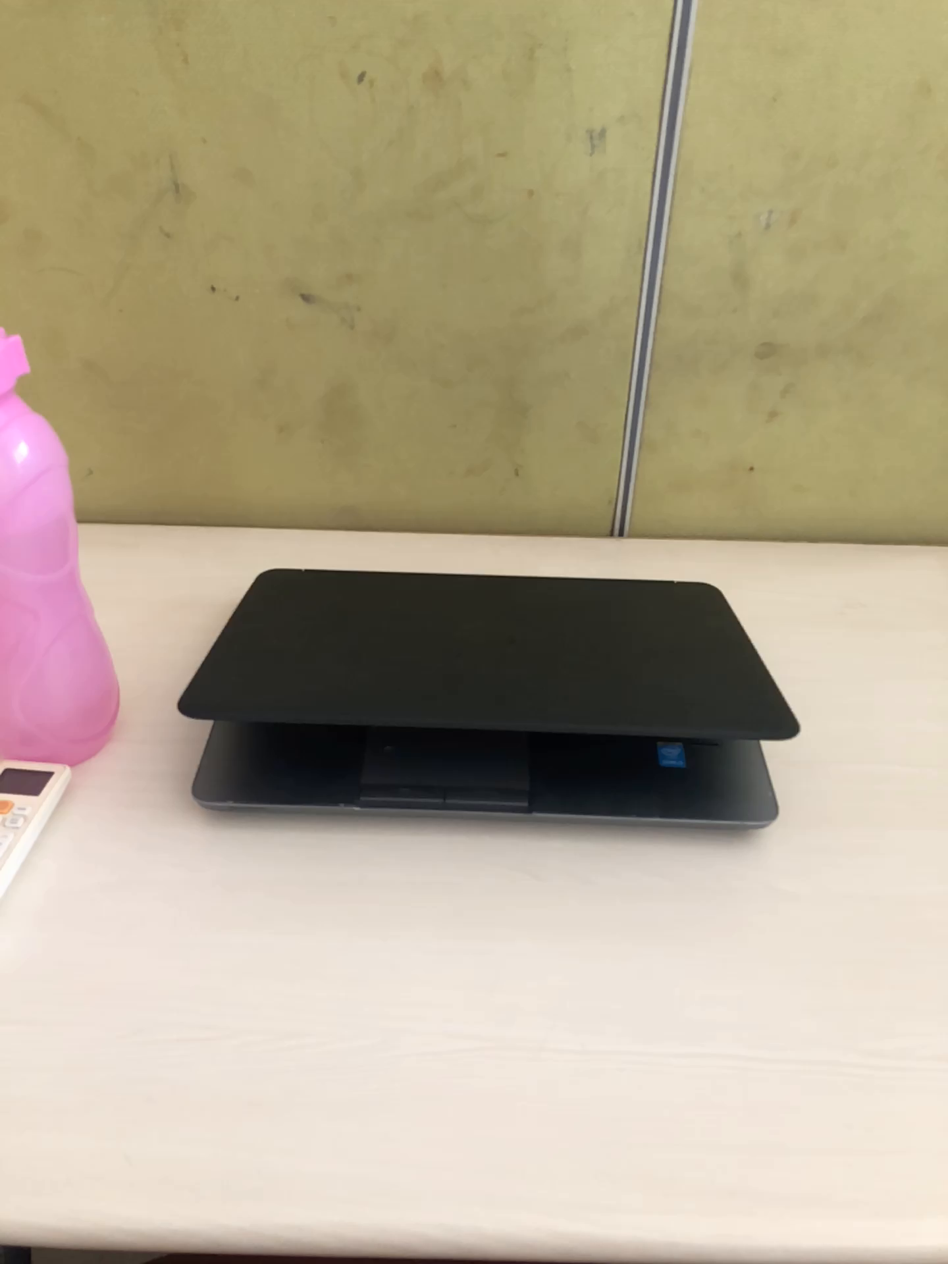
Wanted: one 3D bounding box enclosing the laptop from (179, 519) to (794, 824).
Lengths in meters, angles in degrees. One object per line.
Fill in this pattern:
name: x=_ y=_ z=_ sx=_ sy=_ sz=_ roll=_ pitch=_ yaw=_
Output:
laptop: x=0.012 y=0.014 z=0.659 sx=0.330 sy=0.050 sz=0.227 roll=2 pitch=37 yaw=1
